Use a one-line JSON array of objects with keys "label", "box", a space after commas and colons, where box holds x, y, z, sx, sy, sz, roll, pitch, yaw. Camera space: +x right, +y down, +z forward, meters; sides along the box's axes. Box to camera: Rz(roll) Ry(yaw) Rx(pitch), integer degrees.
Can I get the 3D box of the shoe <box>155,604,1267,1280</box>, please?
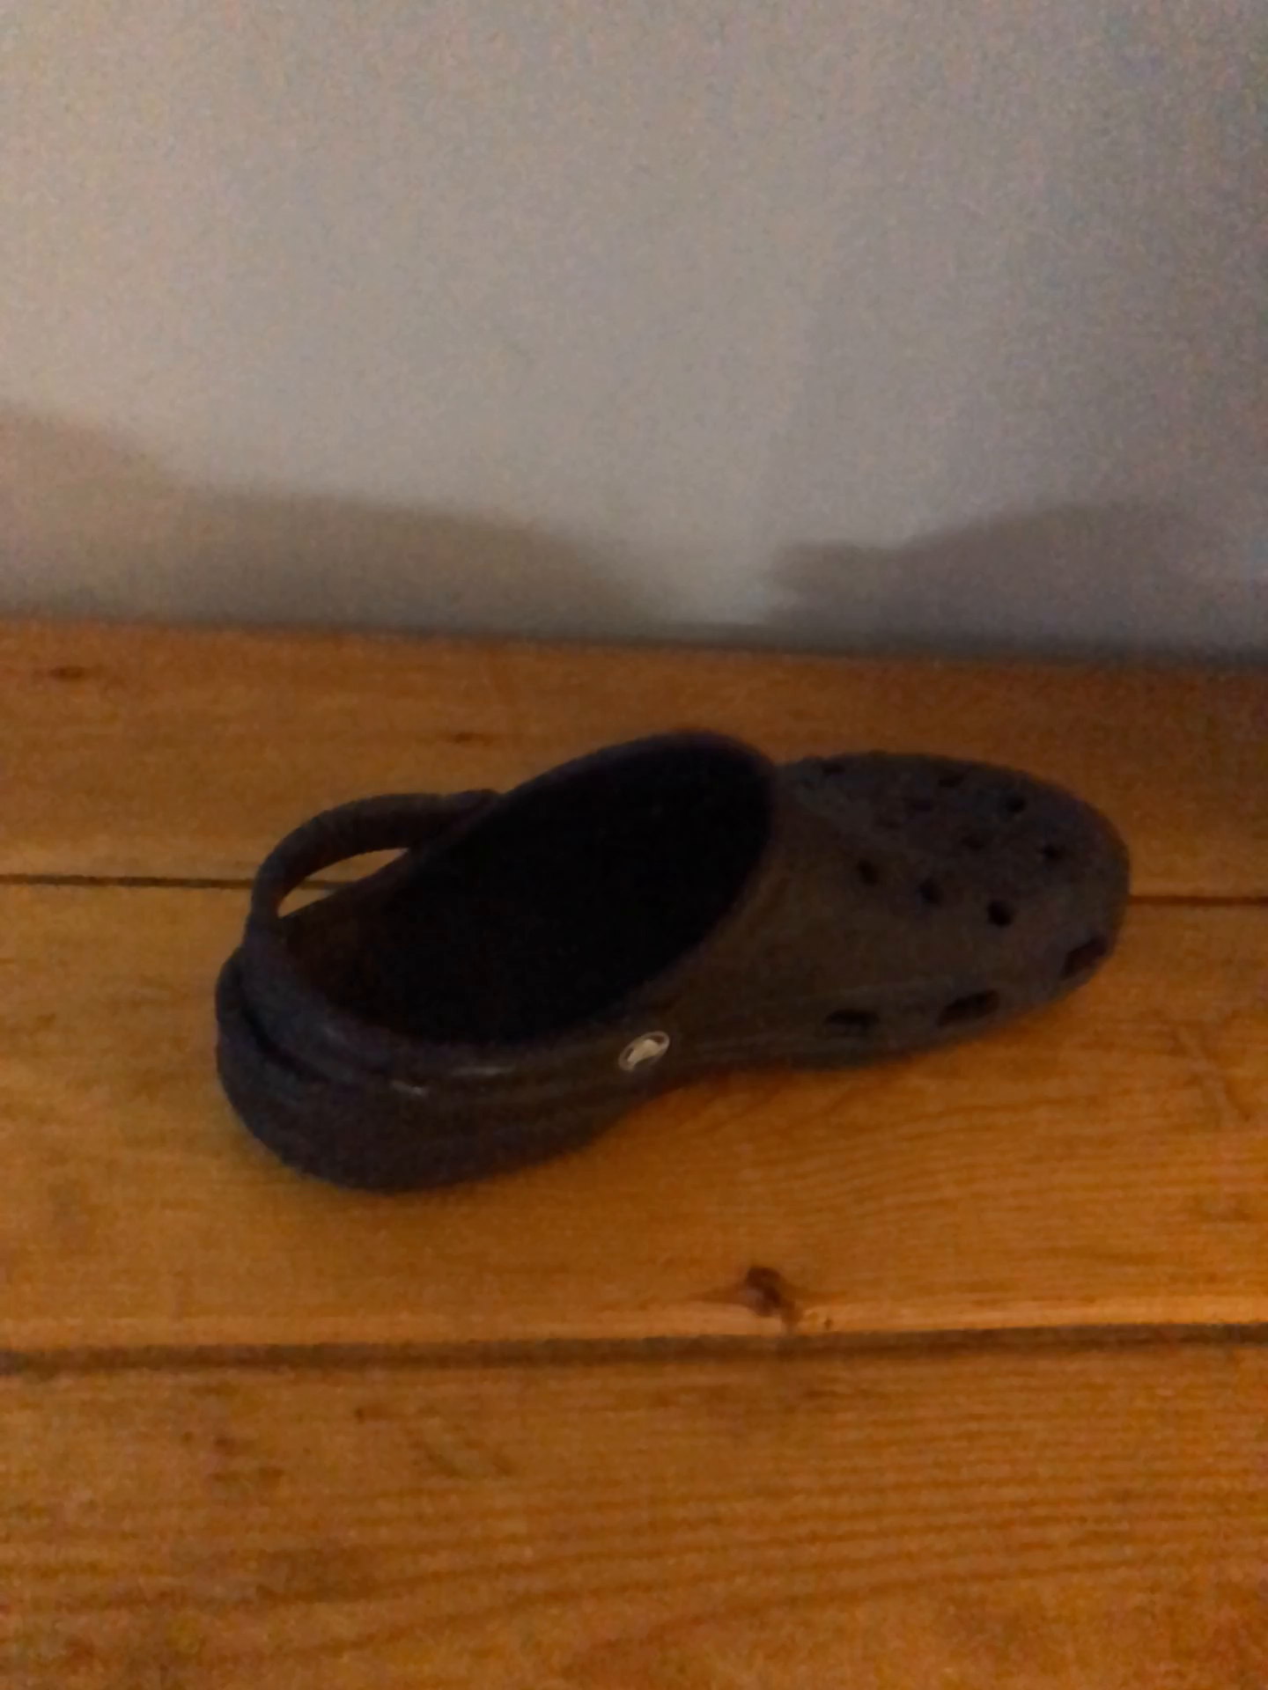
[{"label": "shoe", "box": [0.020, 0.014, 0.420, 0.290, 0.080, 0.130, -11, 46, -19]}]
